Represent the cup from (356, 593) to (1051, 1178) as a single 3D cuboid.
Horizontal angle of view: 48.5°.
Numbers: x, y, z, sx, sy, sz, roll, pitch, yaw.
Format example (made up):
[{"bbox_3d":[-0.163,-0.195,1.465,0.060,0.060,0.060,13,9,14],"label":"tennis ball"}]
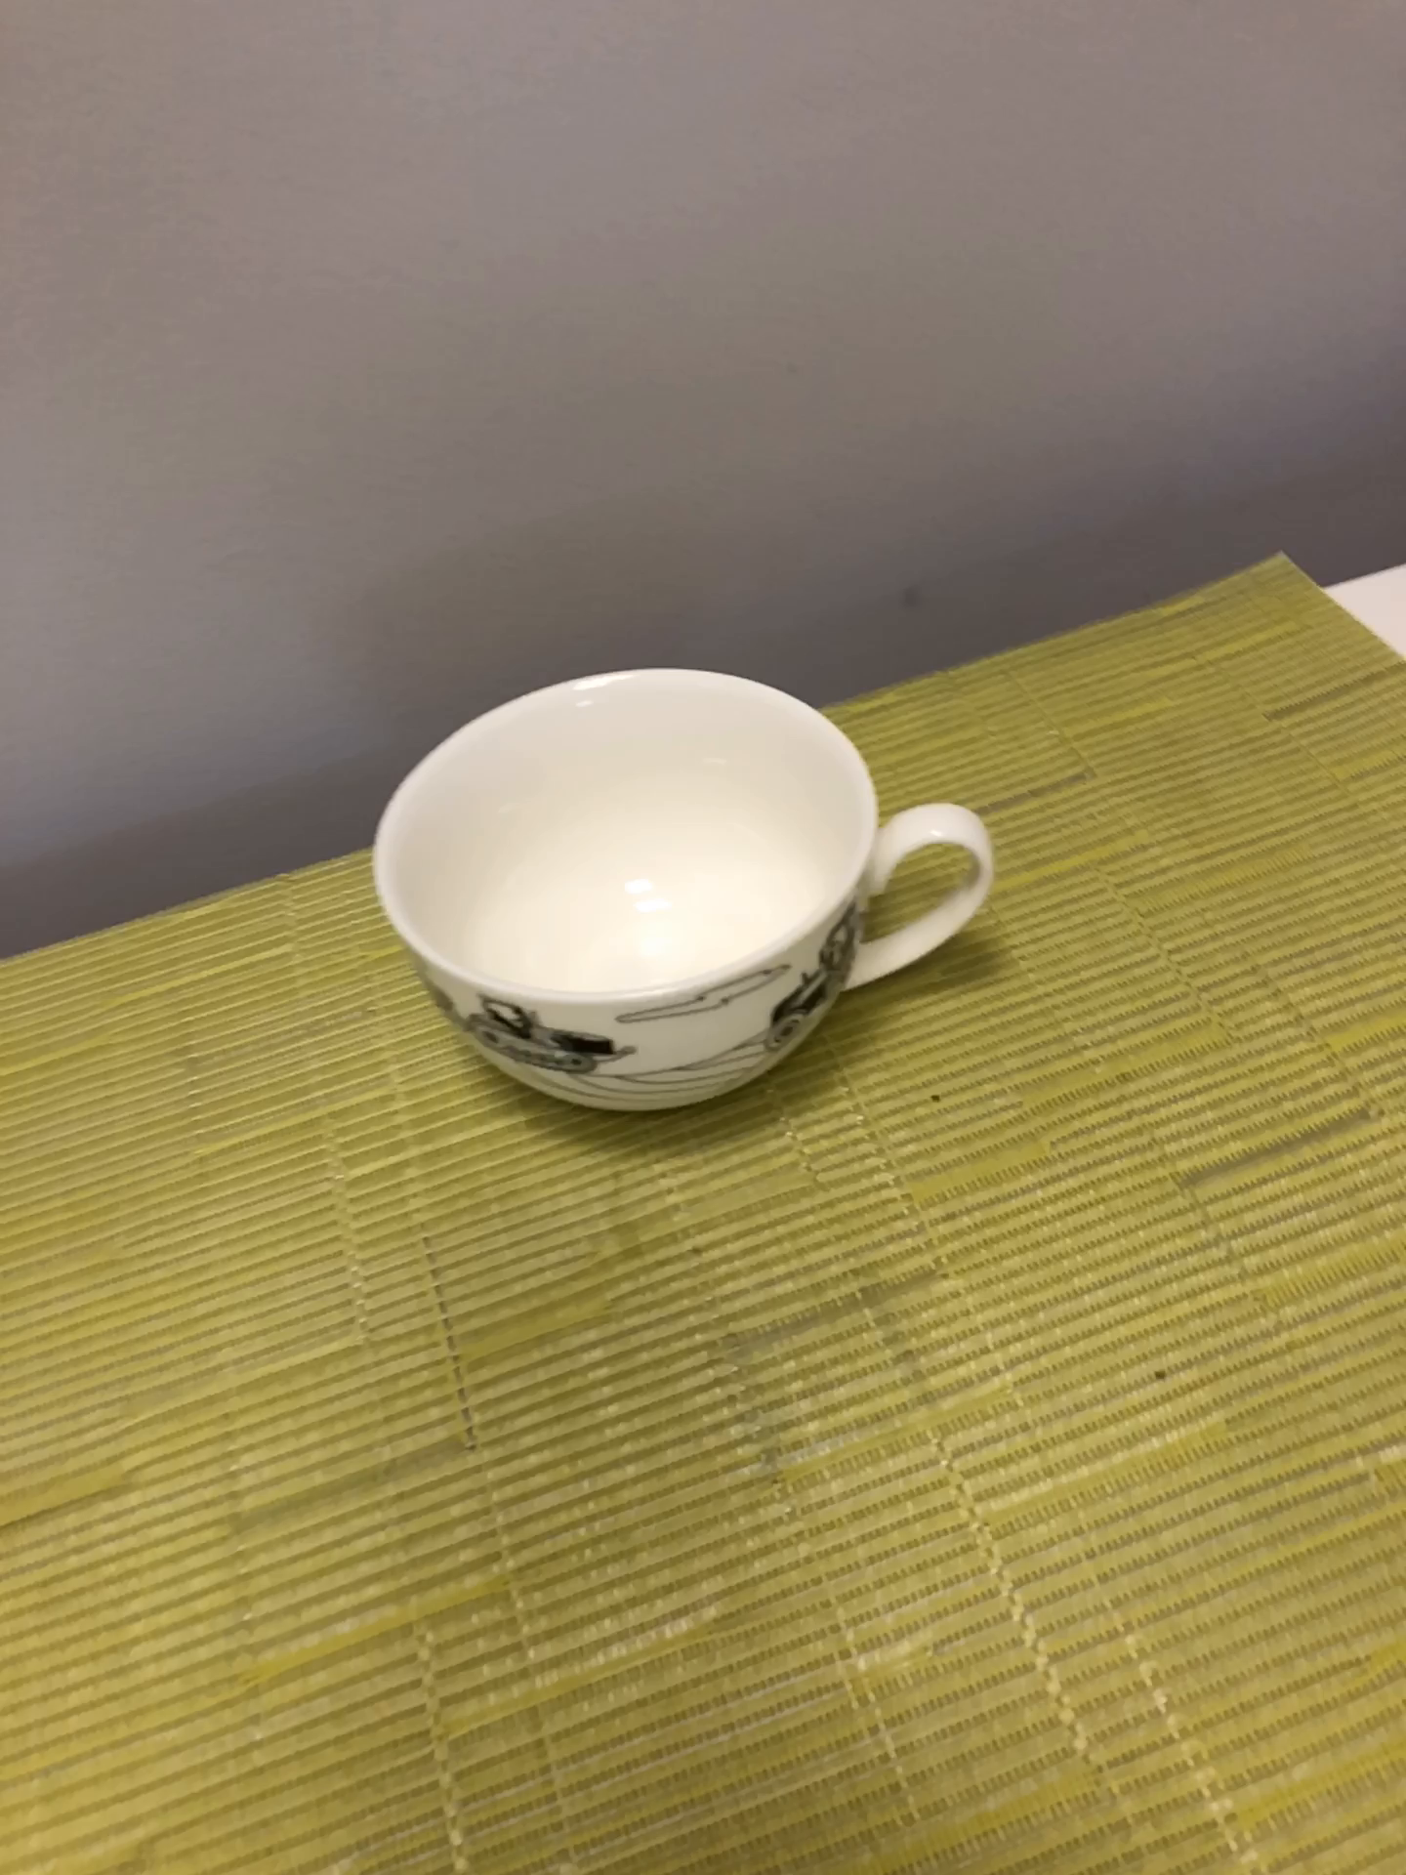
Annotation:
[{"bbox_3d":[-0.001,-0.012,0.301,0.113,0.051,0.089,-8,44,2],"label":"cup"}]
